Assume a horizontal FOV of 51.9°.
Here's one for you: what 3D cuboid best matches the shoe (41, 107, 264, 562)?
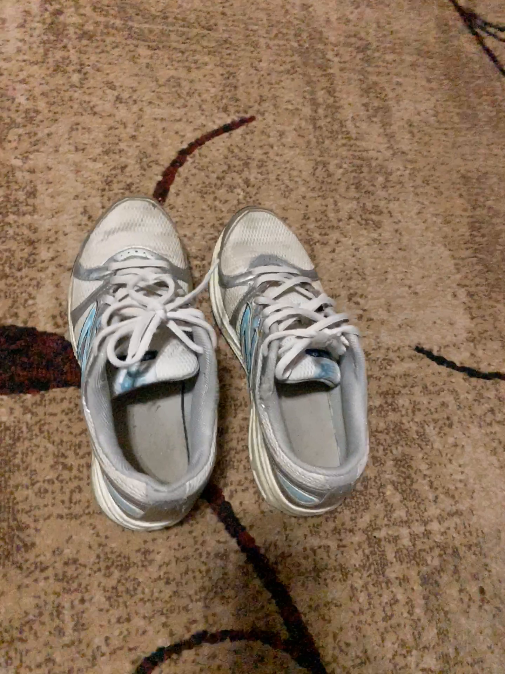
[{"bbox_3d":[-0.082,-0.004,0.376,0.111,0.124,0.283,-4,72,-15],"label":"shoe"}]

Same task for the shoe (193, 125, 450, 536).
[{"bbox_3d":[0.033,-0.006,0.406,0.104,0.124,0.283,-6,72,-16],"label":"shoe"}]
